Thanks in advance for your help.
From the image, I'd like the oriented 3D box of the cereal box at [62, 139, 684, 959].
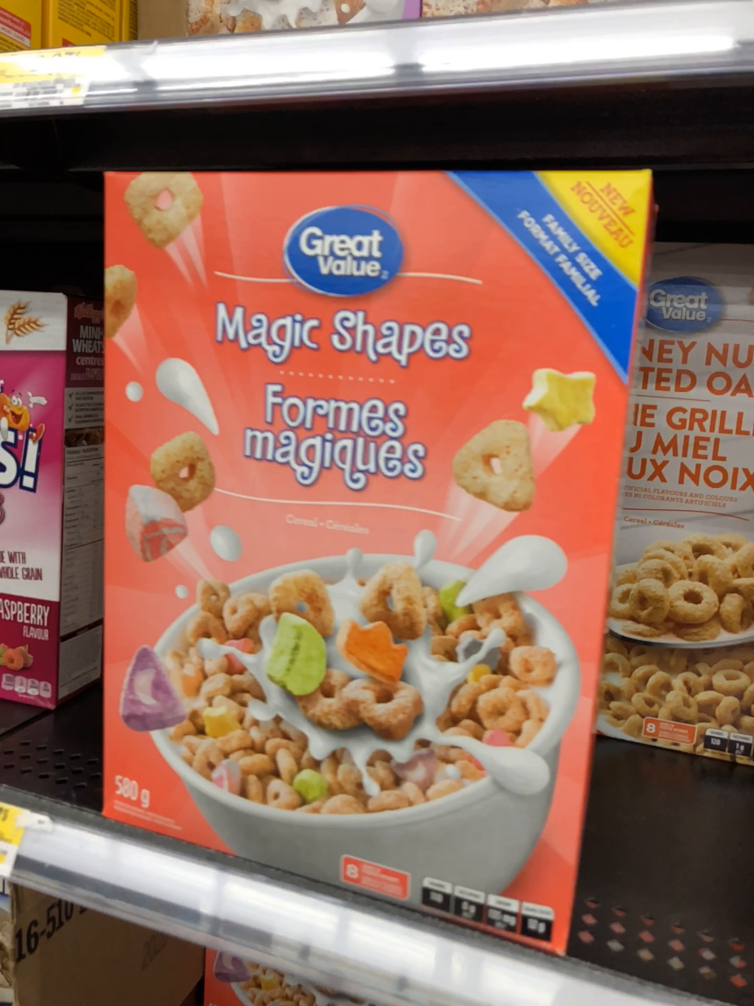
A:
[{"bbox_3d":[-0.013,0.011,0.387,0.260,0.319,0.070,7,12,19],"label":"cereal box"}]
